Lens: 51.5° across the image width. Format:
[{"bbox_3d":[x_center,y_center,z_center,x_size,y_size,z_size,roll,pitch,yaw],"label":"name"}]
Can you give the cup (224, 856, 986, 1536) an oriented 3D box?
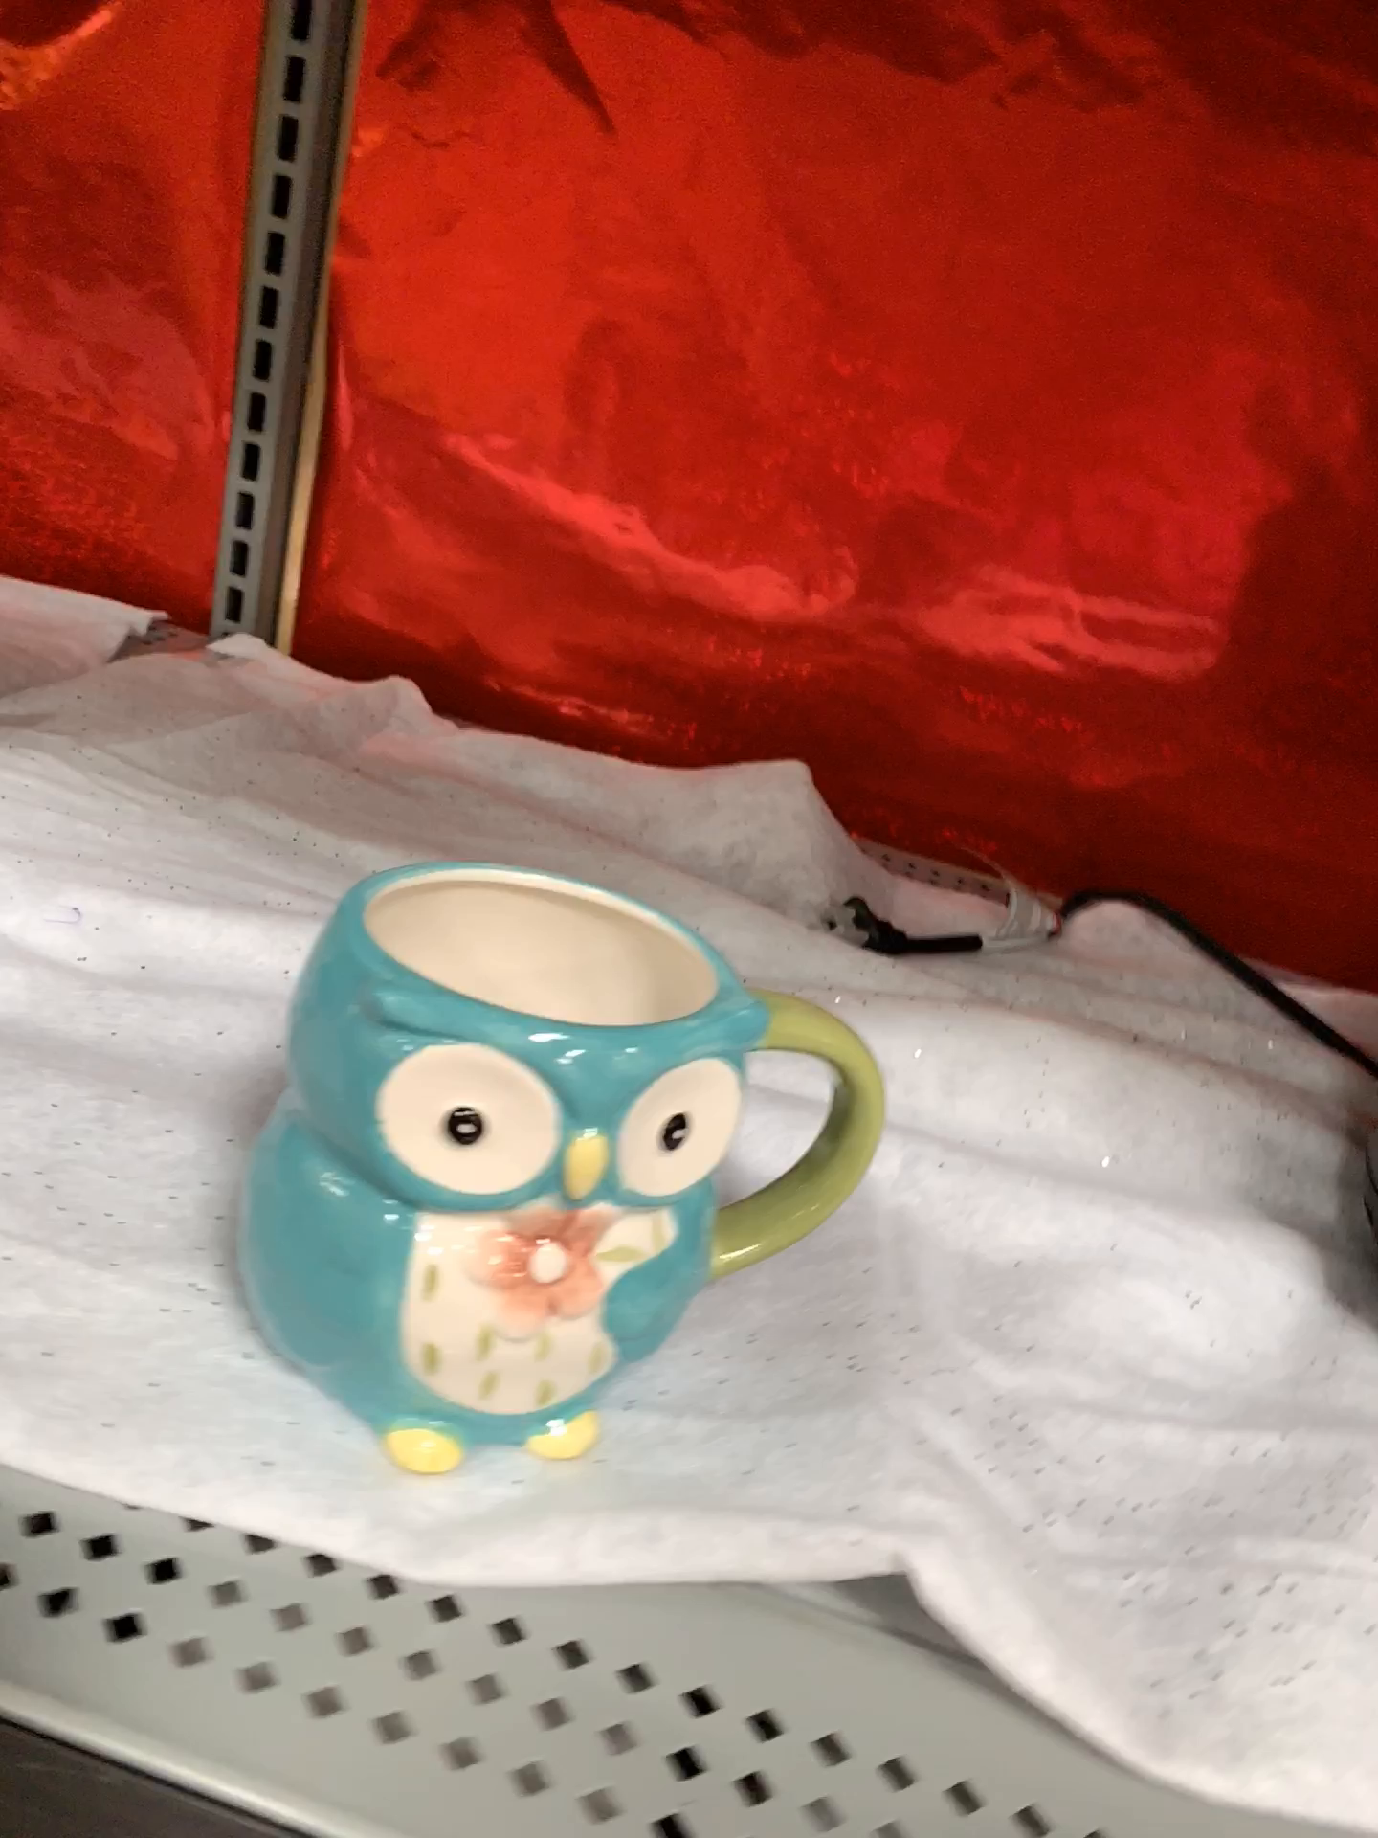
[{"bbox_3d":[-0.028,0.053,0.315,0.127,0.087,0.108,4,26,-24],"label":"cup"}]
